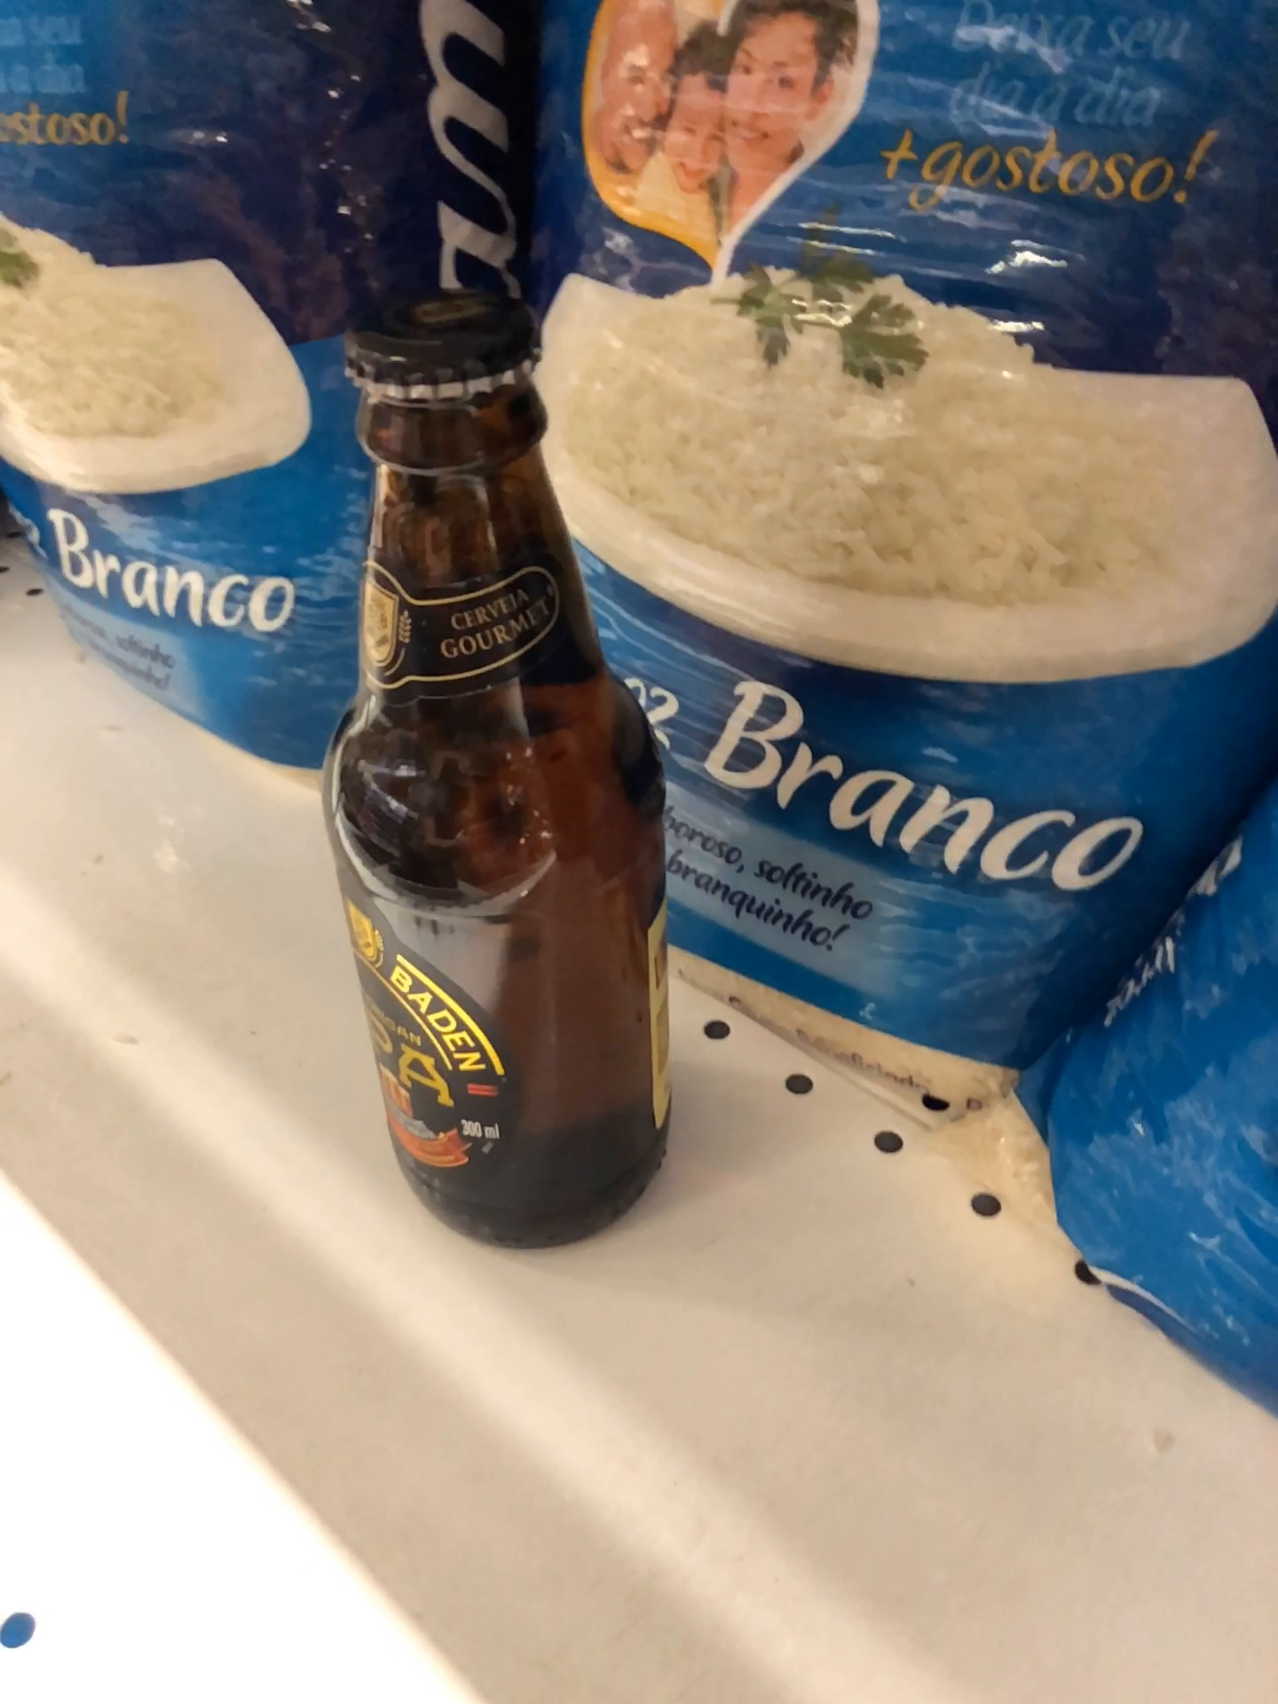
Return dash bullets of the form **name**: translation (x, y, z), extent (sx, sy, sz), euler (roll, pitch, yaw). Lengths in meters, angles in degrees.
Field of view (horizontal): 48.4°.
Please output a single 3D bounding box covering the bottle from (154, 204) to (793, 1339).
- **bottle**: translation (-0.022, -0.004, 0.259), extent (0.060, 0.188, 0.070), euler (-29, 47, -27)
